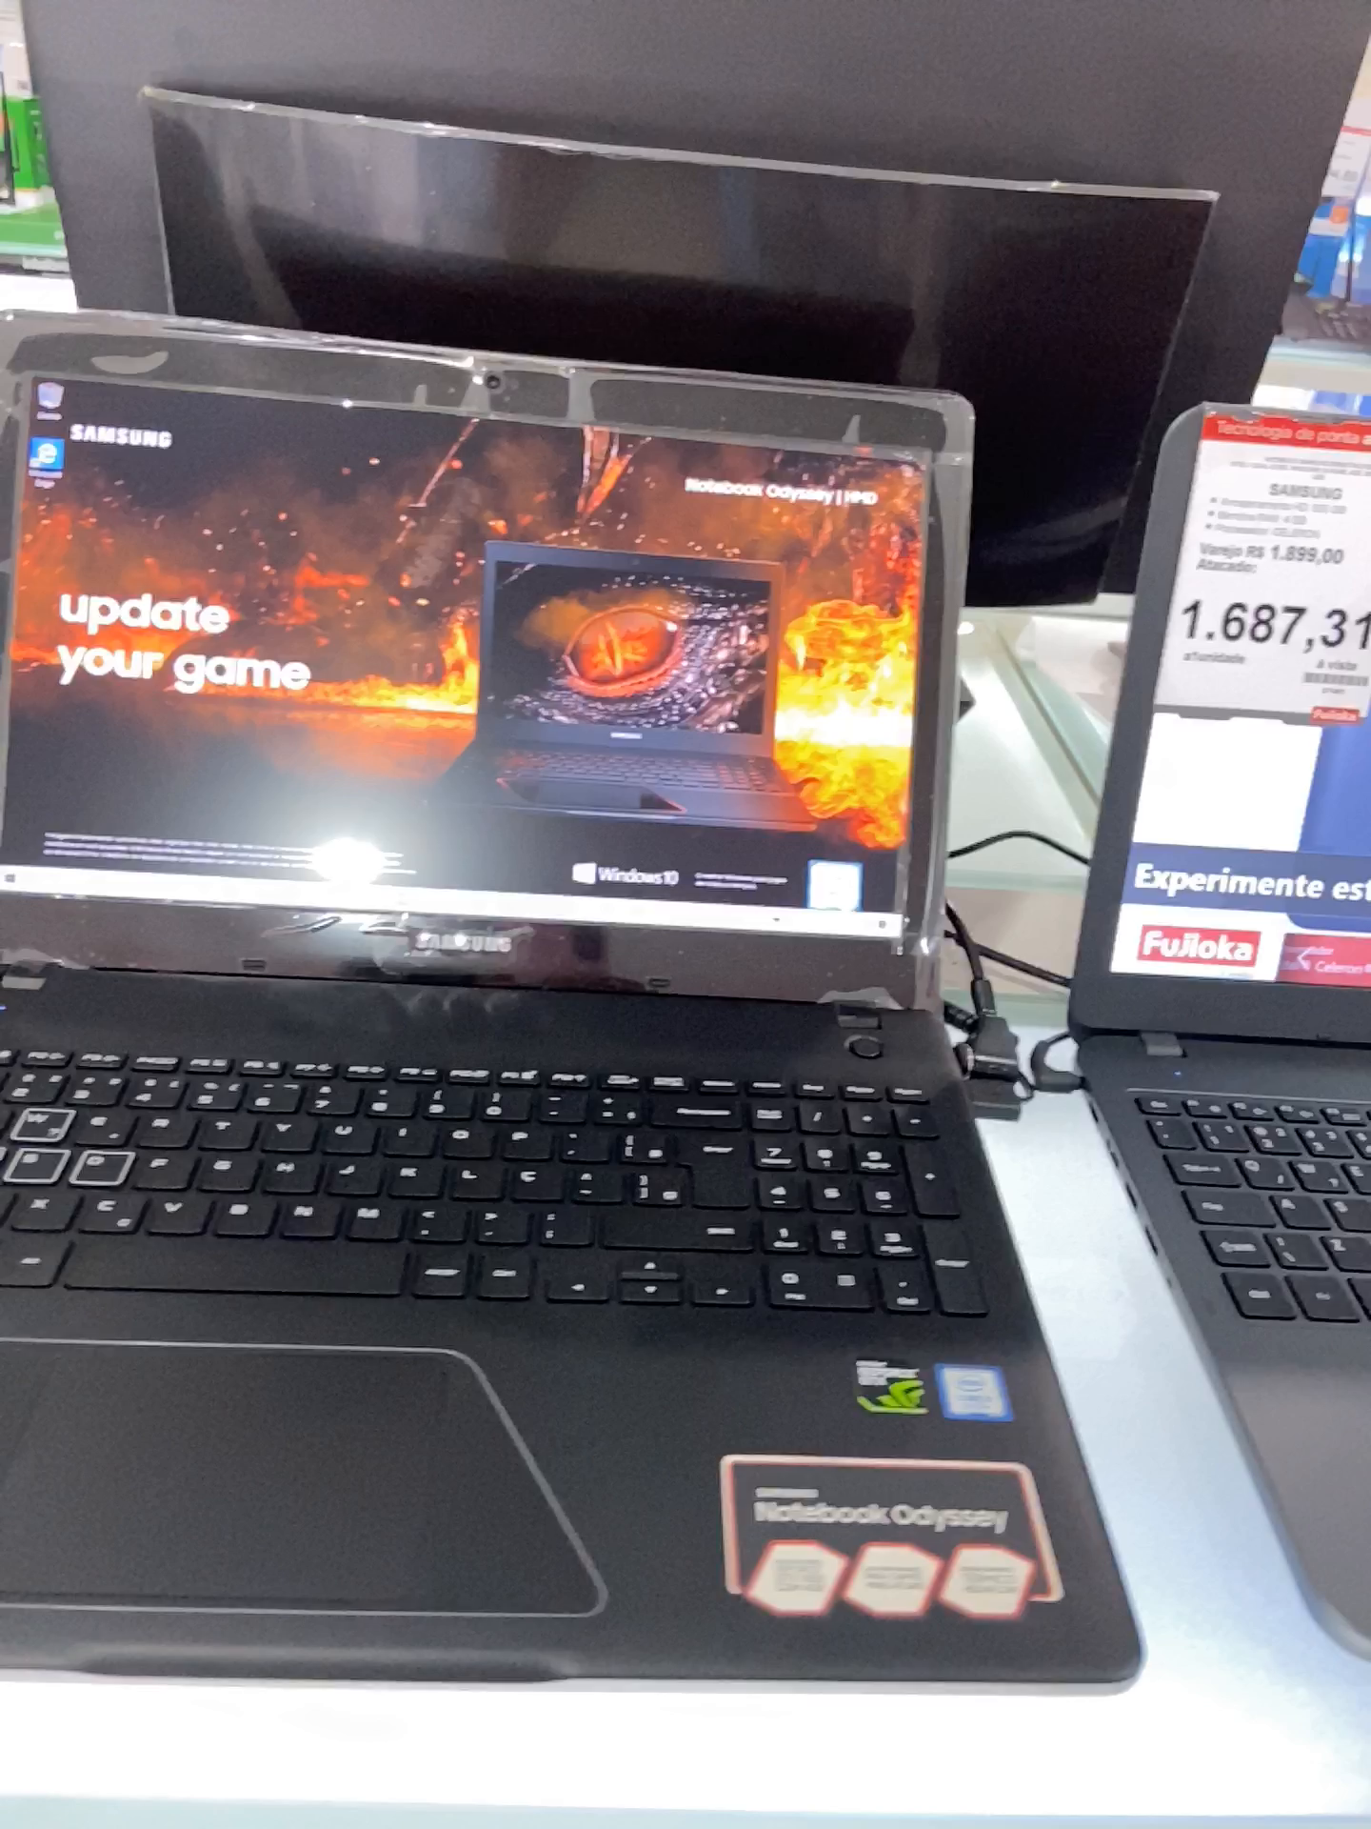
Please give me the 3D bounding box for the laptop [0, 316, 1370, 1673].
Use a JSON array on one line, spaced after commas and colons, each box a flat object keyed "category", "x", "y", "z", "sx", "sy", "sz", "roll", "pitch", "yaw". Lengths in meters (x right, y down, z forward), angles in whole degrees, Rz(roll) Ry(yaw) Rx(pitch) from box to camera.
[{"category": "laptop", "x": -0.077, "y": -0.027, "z": 0.426, "sx": 0.373, "sy": 0.202, "sz": 0.393, "roll": 3, "pitch": 31, "yaw": -4}]
